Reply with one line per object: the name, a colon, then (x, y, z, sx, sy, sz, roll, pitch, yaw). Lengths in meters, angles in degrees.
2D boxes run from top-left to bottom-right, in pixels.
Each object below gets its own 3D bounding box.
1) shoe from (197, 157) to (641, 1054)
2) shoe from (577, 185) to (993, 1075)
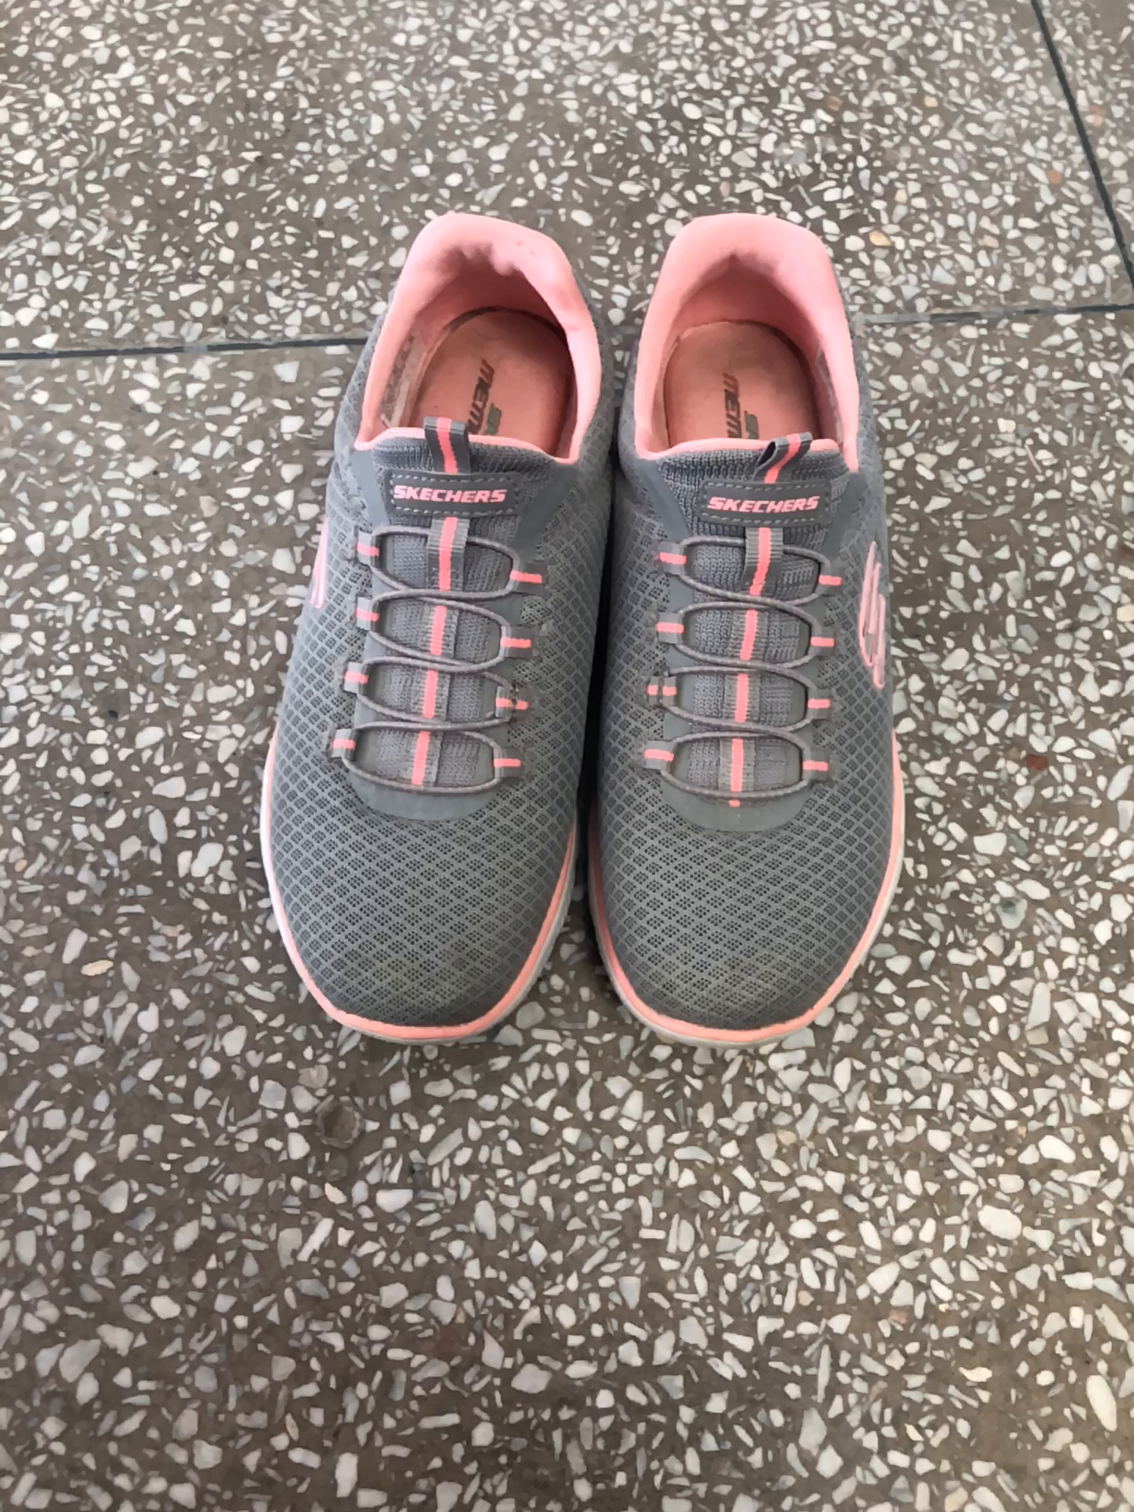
shoe: (-0.033, -0.042, 0.377, 0.090, 0.100, 0.240, 4, 72, 0)
shoe: (0.057, -0.033, 0.366, 0.090, 0.100, 0.230, 4, 72, 0)
